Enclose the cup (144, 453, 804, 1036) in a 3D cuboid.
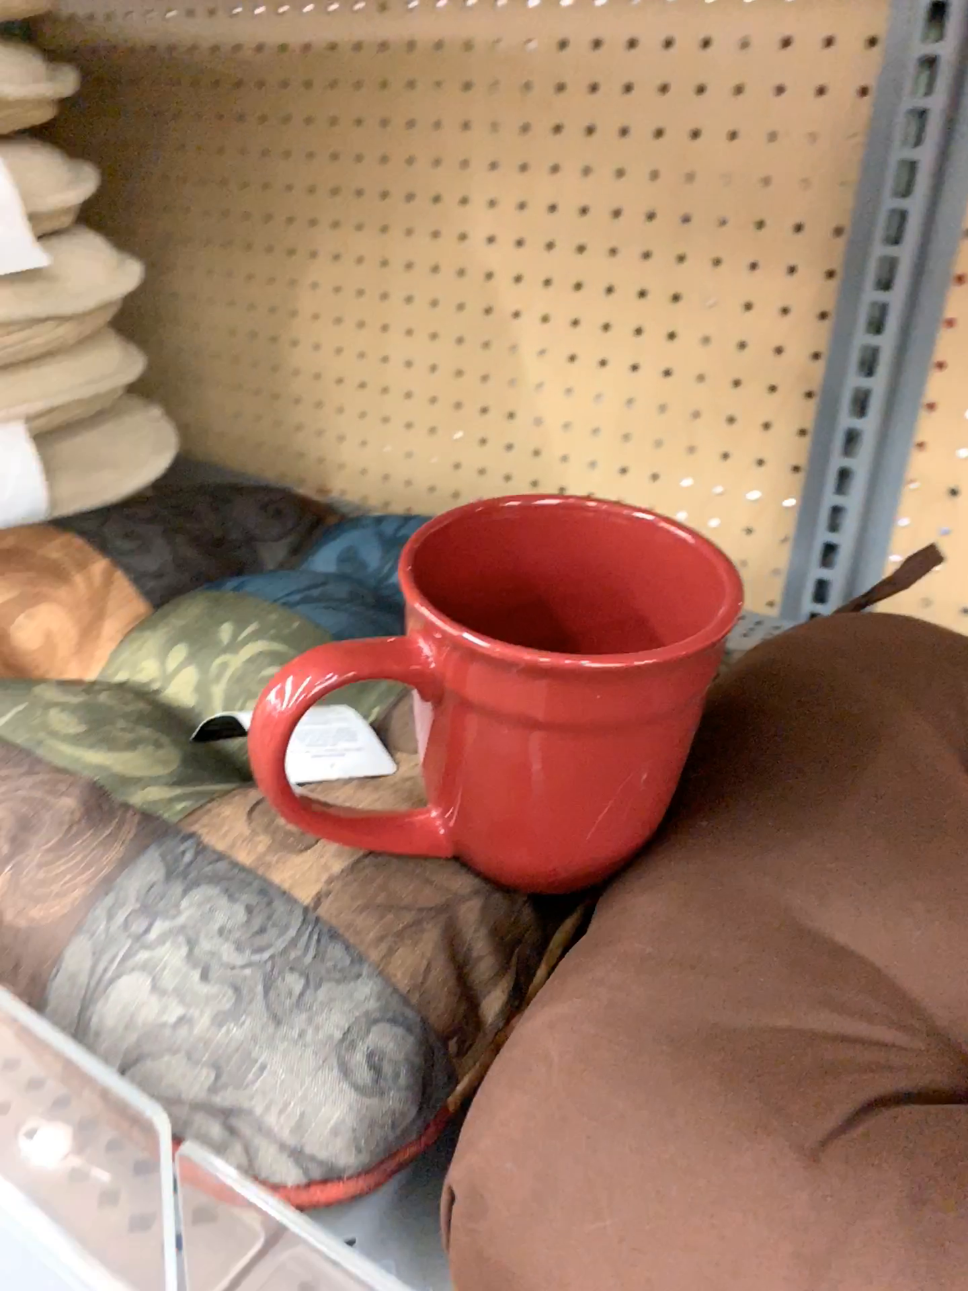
[{"bbox_3d":[-0.005,0.016,0.298,0.150,0.089,0.100,-18,40,-29],"label":"cup"}]
